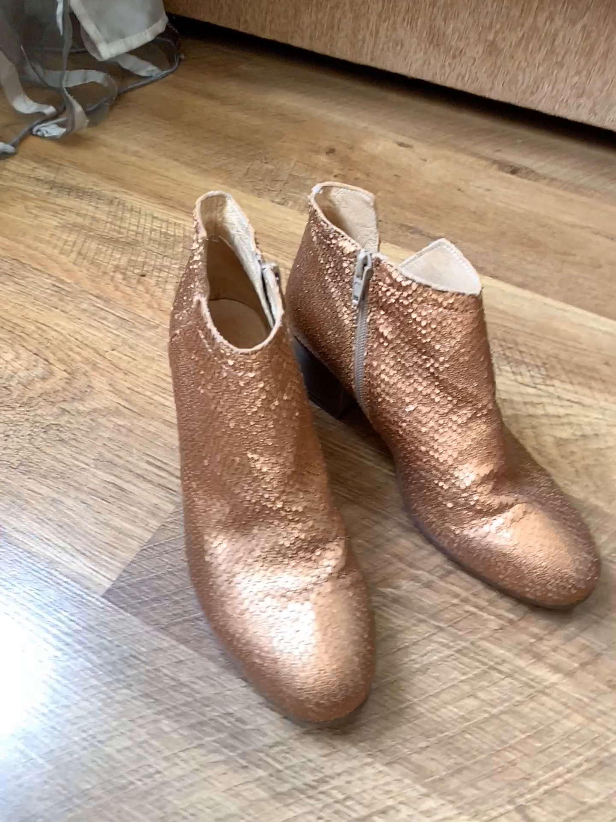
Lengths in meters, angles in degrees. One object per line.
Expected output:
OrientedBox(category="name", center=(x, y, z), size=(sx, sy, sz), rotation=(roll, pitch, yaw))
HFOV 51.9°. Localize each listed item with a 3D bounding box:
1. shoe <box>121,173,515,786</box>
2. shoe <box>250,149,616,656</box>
OrientedBox(category="shoe", center=(-0.020, 0.014, 0.275), size=(0.080, 0.129, 0.221), rotation=(-10, 49, -14))
OrientedBox(category="shoe", center=(0.069, -0.015, 0.316), size=(0.080, 0.129, 0.221), rotation=(-29, 56, -28))
